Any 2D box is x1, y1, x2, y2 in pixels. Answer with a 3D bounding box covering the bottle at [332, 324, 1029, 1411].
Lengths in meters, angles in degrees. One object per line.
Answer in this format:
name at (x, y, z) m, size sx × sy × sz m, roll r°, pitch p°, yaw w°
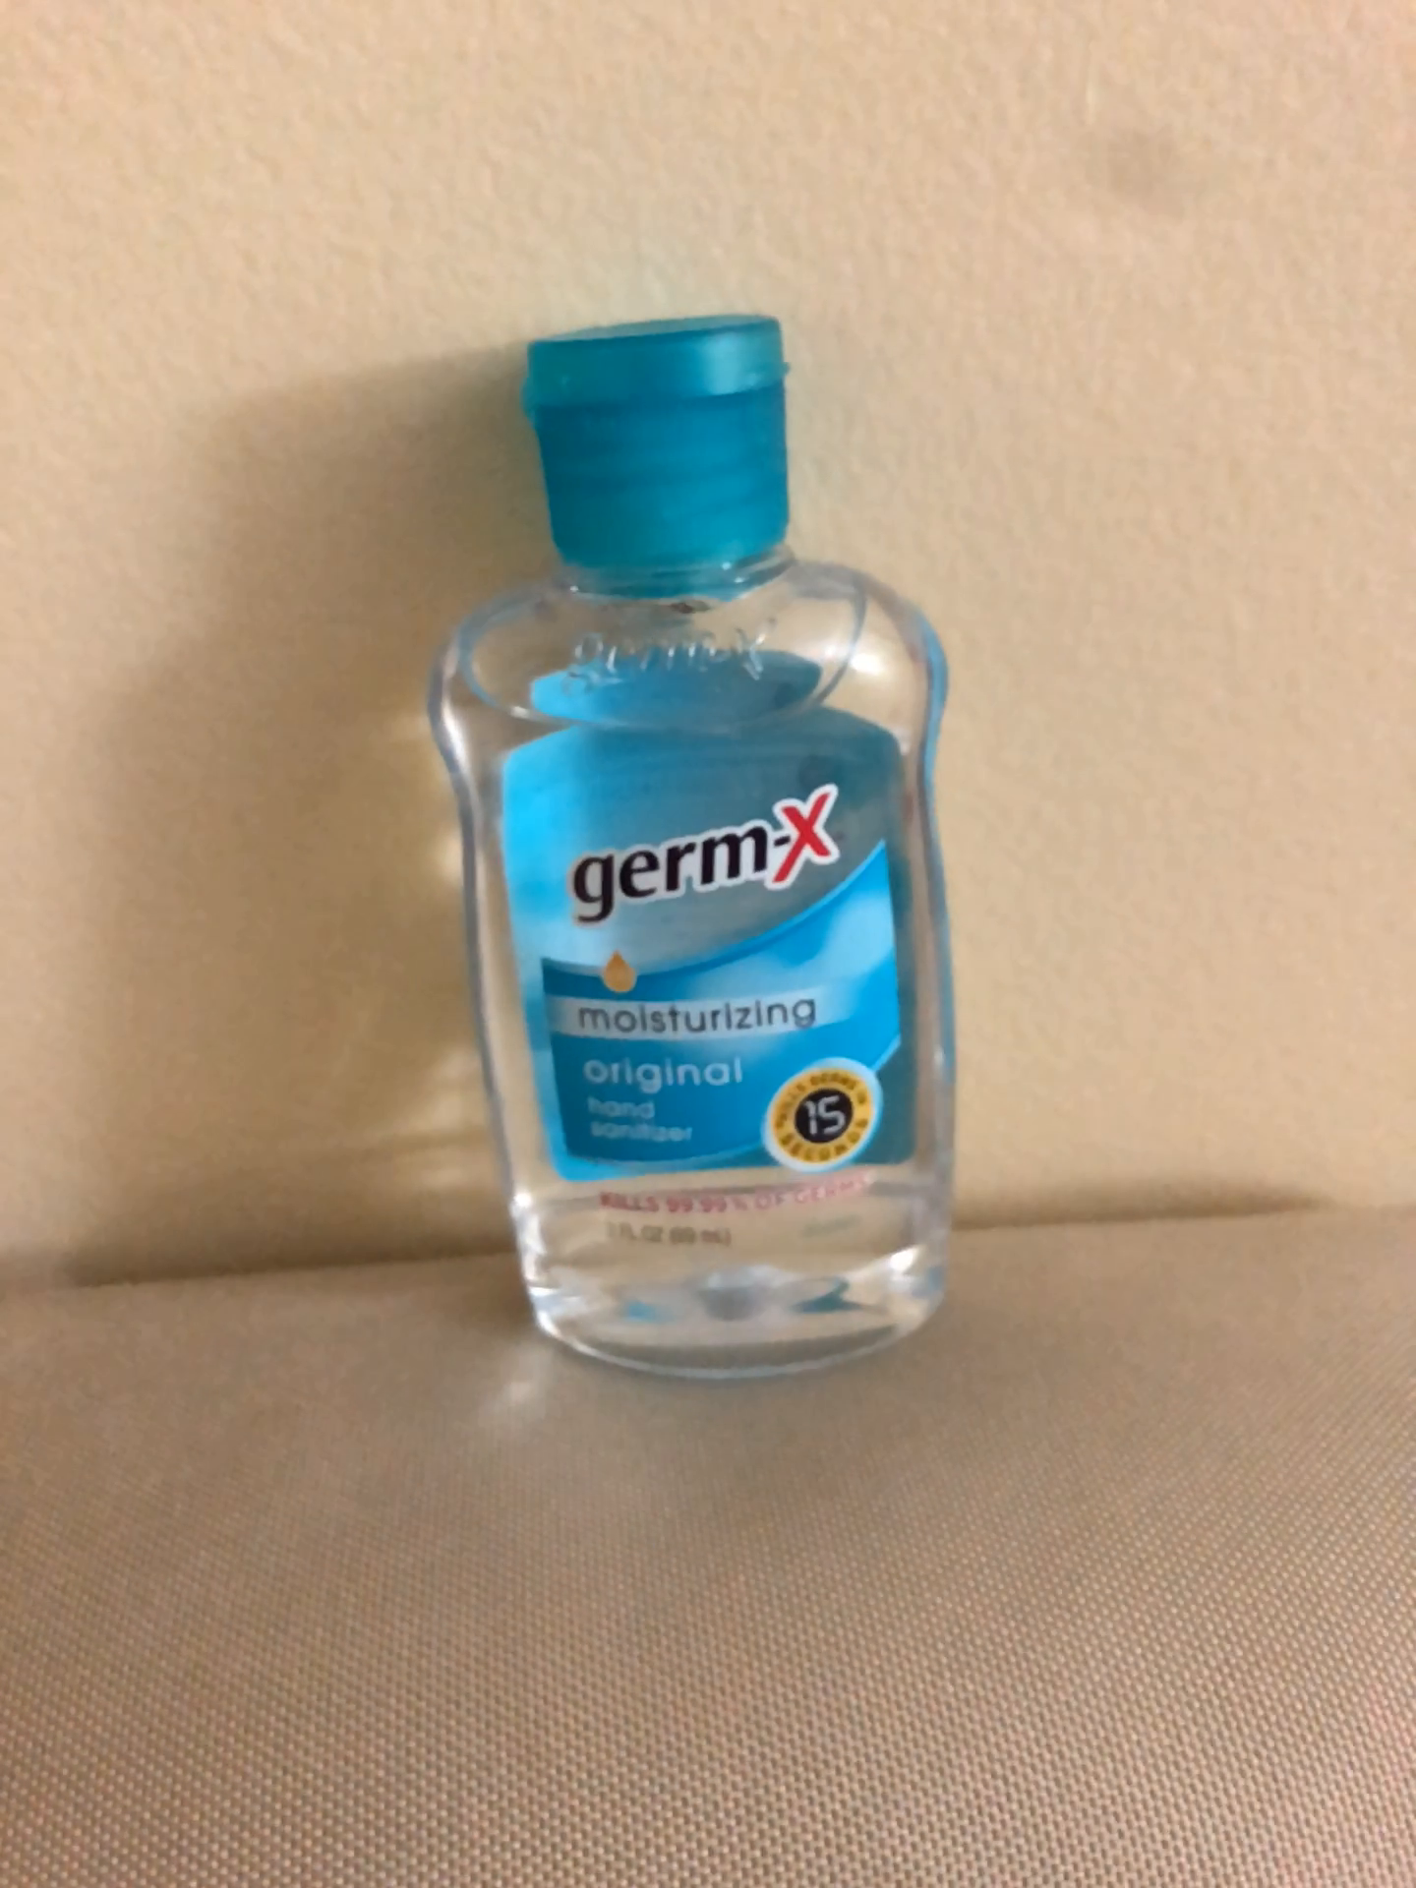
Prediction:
bottle at (-0.001, -0.006, 0.173) m, size 0.060 × 0.110 × 0.030 m, roll -3°, pitch 22°, yaw -2°
